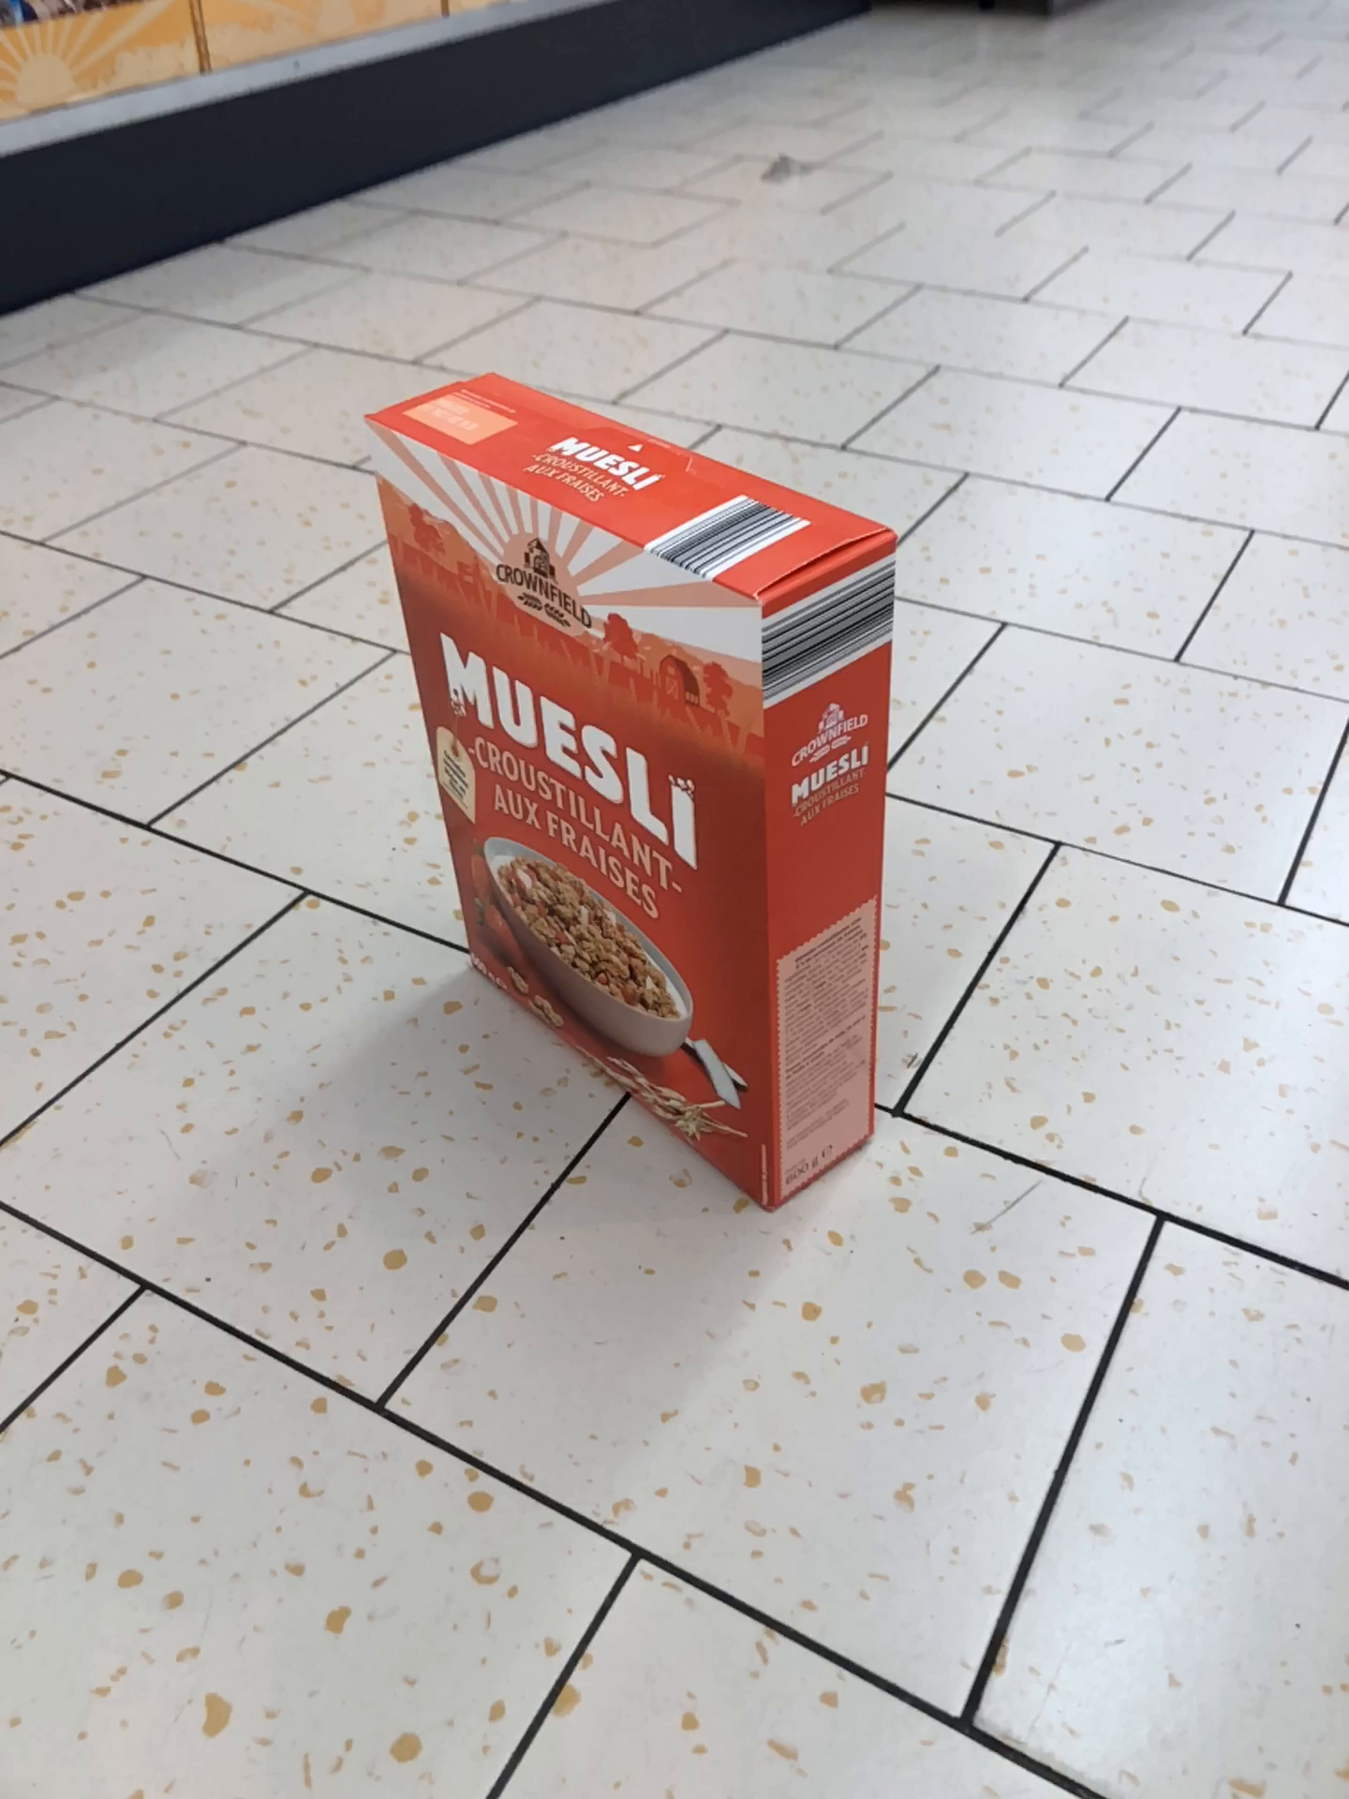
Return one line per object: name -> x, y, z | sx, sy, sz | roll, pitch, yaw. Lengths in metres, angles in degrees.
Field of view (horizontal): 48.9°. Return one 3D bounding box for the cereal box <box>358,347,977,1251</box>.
cereal box -> -0.006, -0.036, 0.517 | 0.070, 0.248, 0.200 | -30, 45, -30
